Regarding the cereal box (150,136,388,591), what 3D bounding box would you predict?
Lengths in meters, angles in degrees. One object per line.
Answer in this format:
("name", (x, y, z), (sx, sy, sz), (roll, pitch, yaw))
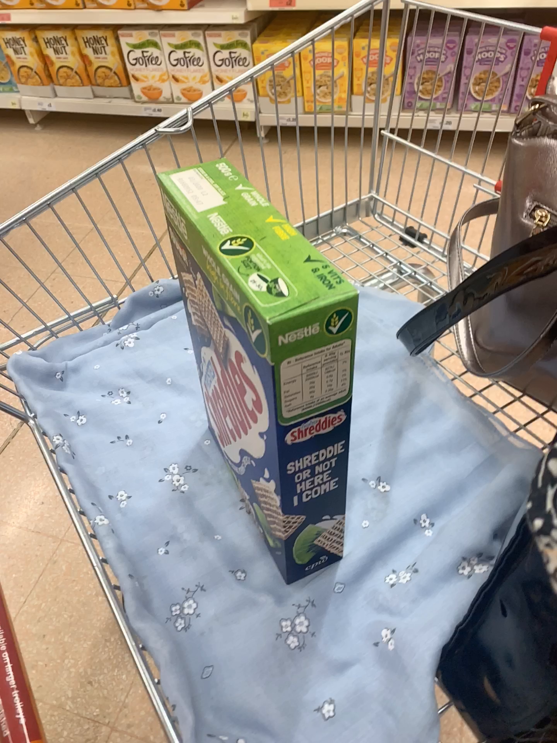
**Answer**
("cereal box", (-0.008, 0.005, 0.437), (0.060, 0.287, 0.202), (-22, 47, -15))
